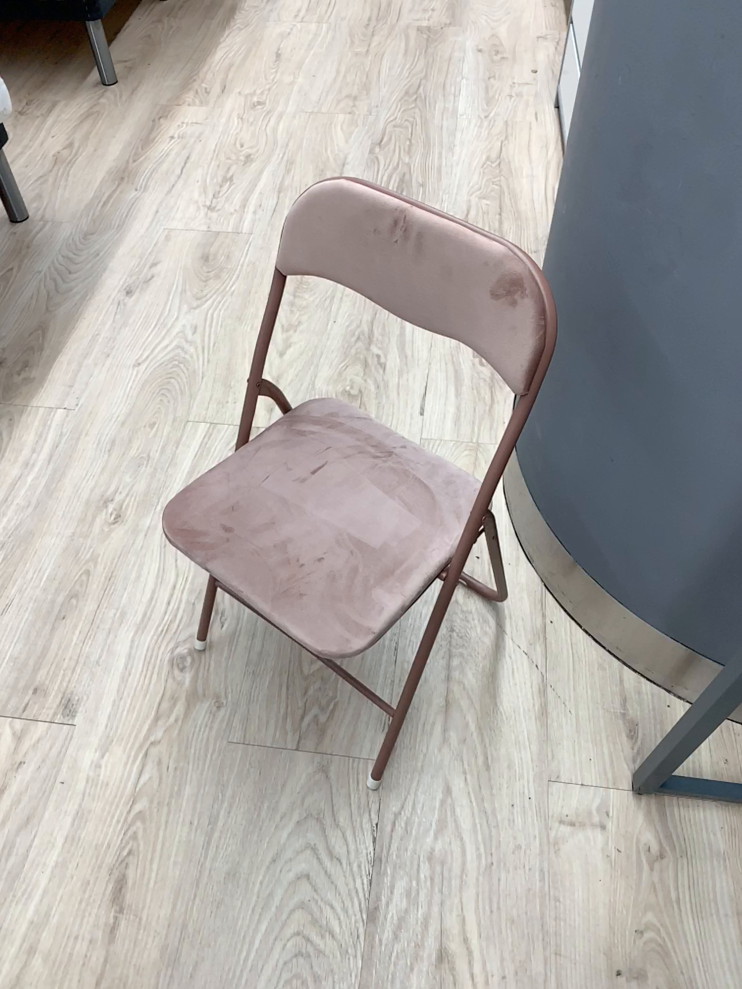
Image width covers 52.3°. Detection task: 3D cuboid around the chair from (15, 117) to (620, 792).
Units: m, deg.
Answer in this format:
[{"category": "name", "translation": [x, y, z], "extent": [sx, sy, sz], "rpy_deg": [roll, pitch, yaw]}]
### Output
[{"category": "chair", "translation": [-0.040, -0.008, 1.141], "extent": [0.461, 0.797, 0.481], "rpy_deg": [30, 59, 21]}]
